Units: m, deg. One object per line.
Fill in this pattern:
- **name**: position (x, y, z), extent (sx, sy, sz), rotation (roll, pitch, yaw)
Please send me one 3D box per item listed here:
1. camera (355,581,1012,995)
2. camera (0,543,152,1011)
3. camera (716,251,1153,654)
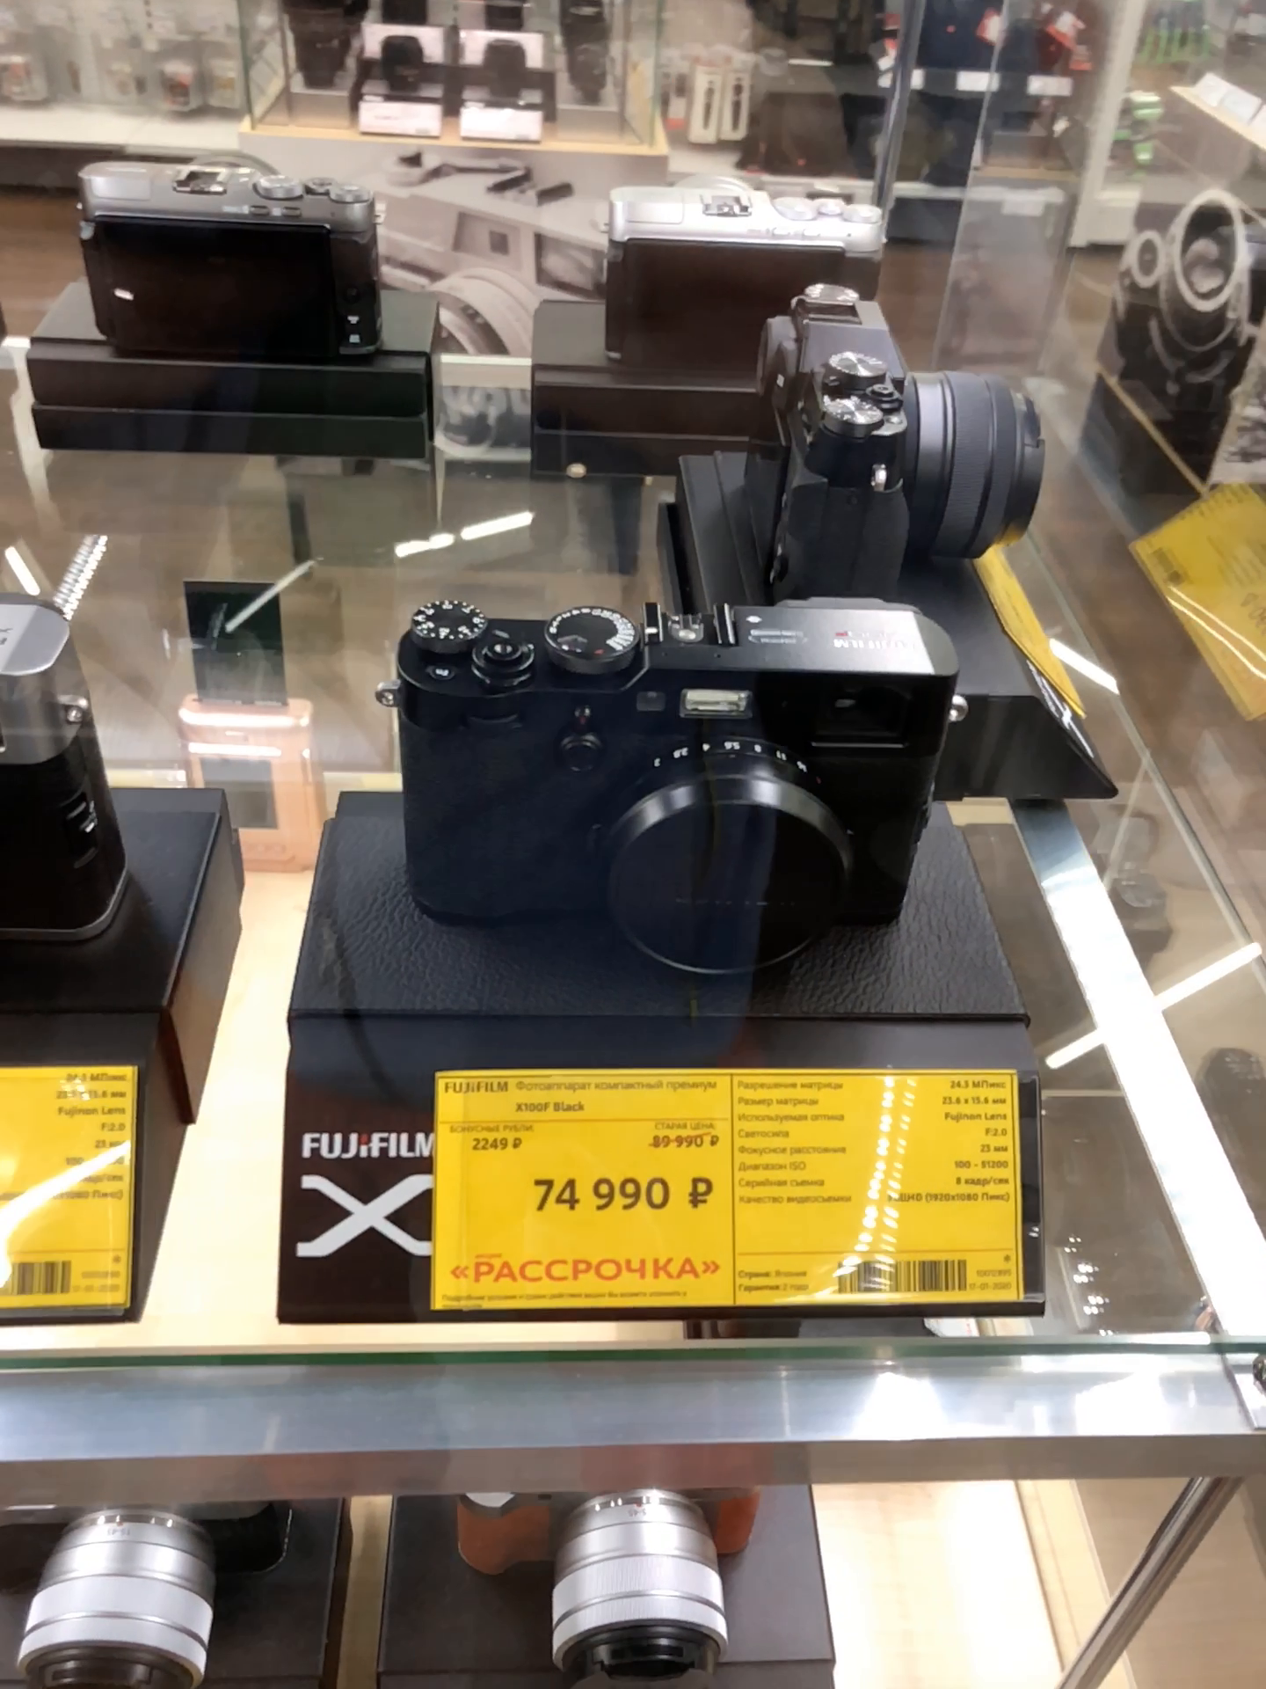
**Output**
- **camera**: position (0.007, -0.012, 0.320), extent (0.130, 0.075, 0.055), rotation (0, 39, -5)
- **camera**: position (-0.181, -0.013, 0.296), extent (0.130, 0.080, 0.055), rotation (0, 39, -5)
- **camera**: position (0.090, -0.134, 0.467), extent (0.104, 0.080, 0.131), rotation (0, 39, -5)
